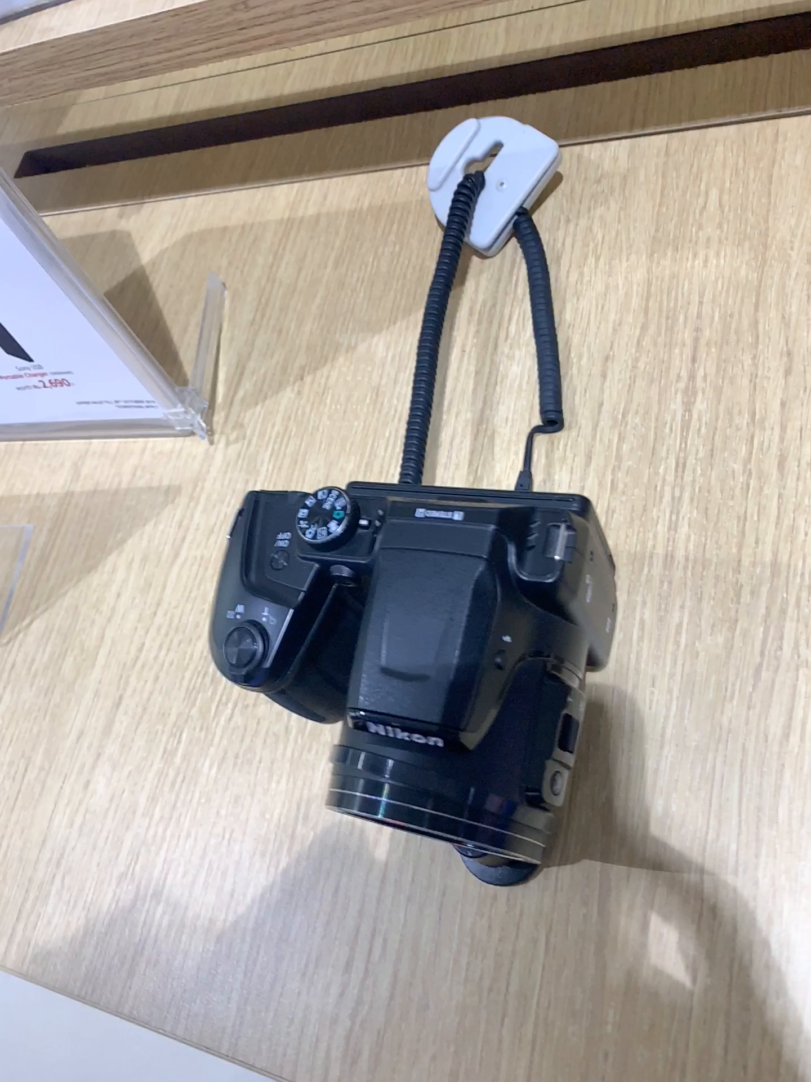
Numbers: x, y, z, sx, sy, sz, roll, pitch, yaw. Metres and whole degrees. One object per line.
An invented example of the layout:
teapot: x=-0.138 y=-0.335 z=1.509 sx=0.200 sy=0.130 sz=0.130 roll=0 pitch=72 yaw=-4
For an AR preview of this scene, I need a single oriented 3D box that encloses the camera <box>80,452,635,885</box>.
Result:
camera: x=-0.006 y=0.035 z=0.242 sx=0.120 sy=0.080 sz=0.090 roll=5 pitch=69 yaw=25
